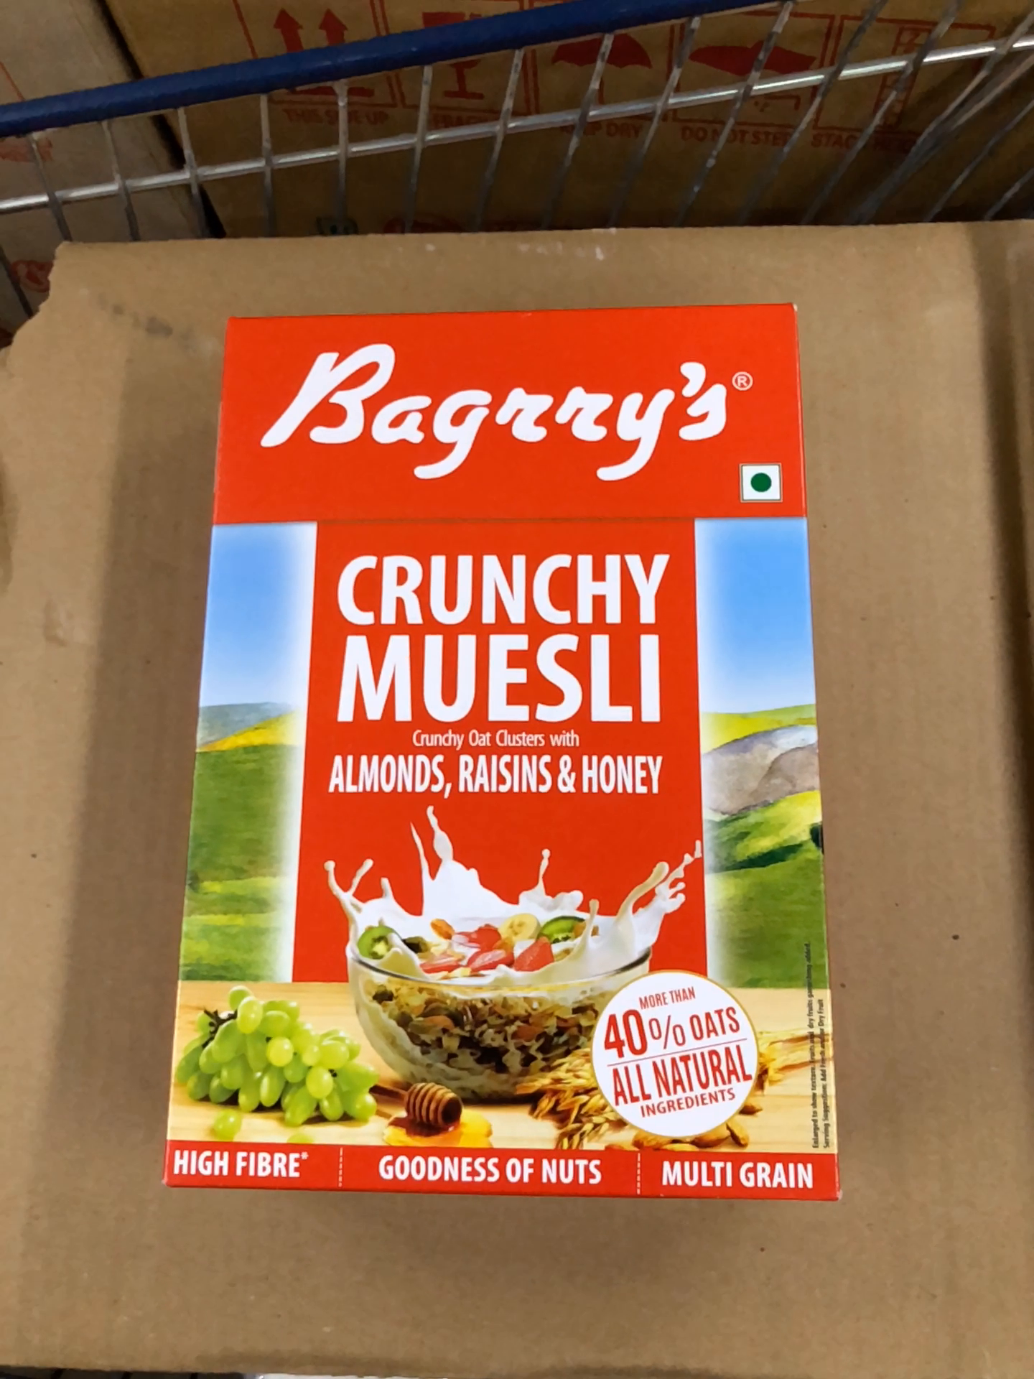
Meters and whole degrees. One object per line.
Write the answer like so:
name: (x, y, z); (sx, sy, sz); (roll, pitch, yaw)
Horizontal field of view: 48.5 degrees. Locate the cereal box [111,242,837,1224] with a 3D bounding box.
cereal box: (-0.009, 0.008, 0.342); (0.180, 0.070, 0.260); (0, 79, 5)
